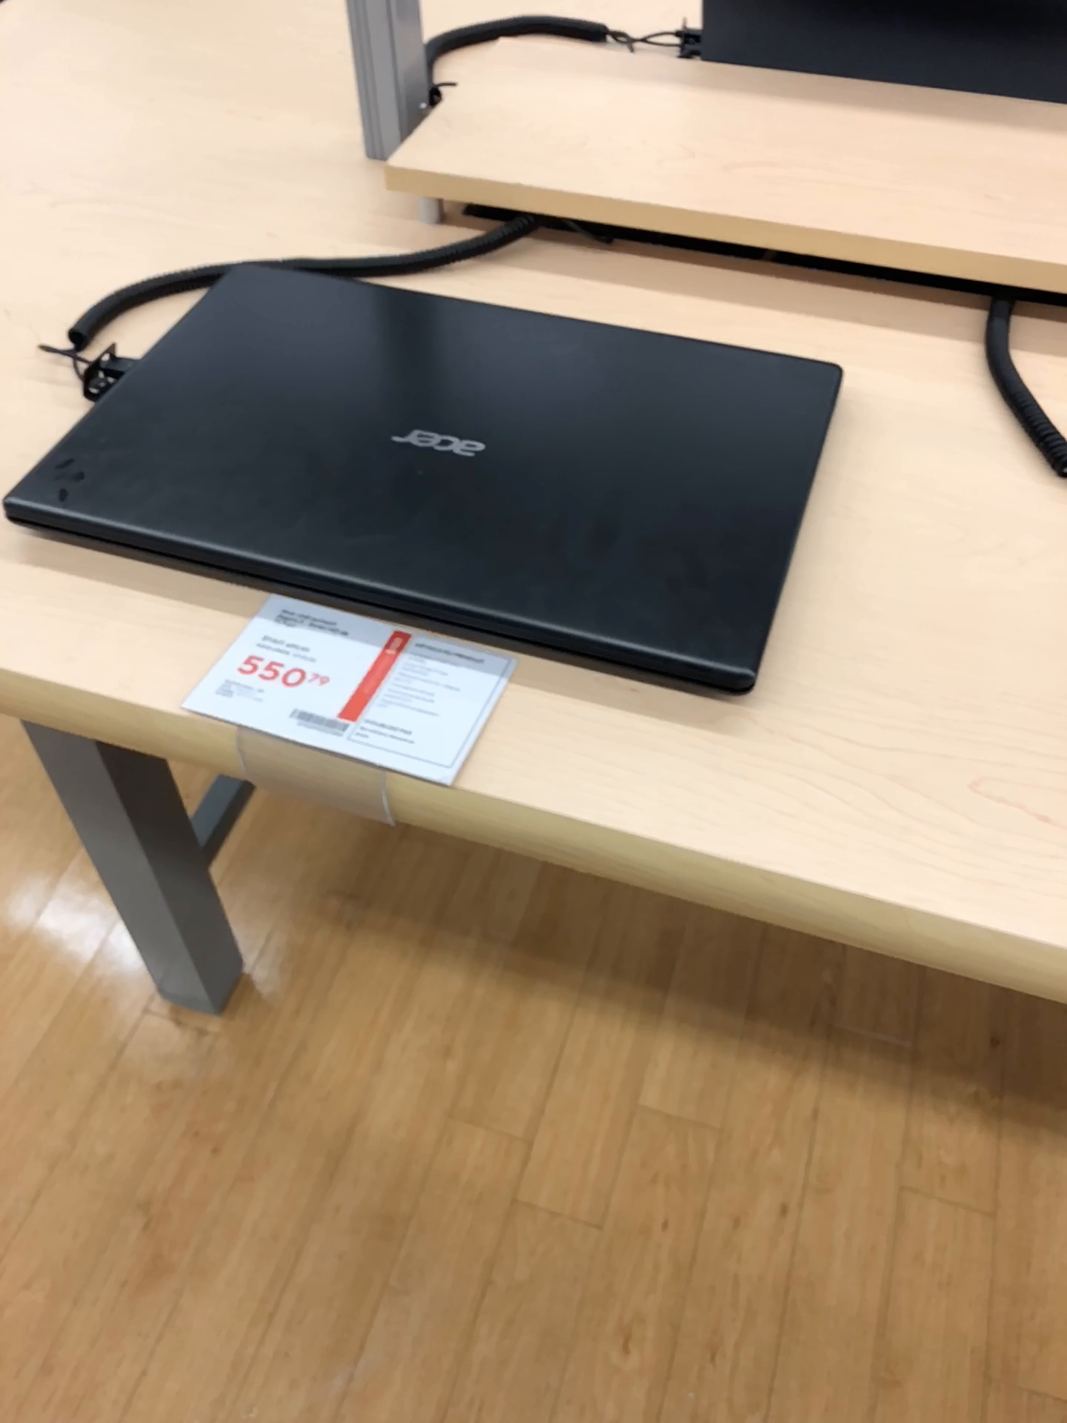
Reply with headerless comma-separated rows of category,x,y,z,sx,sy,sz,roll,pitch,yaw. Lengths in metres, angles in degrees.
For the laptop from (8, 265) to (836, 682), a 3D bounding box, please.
laptop,-0.052,-0.162,0.688,0.416,0.001,0.268,14,51,13
